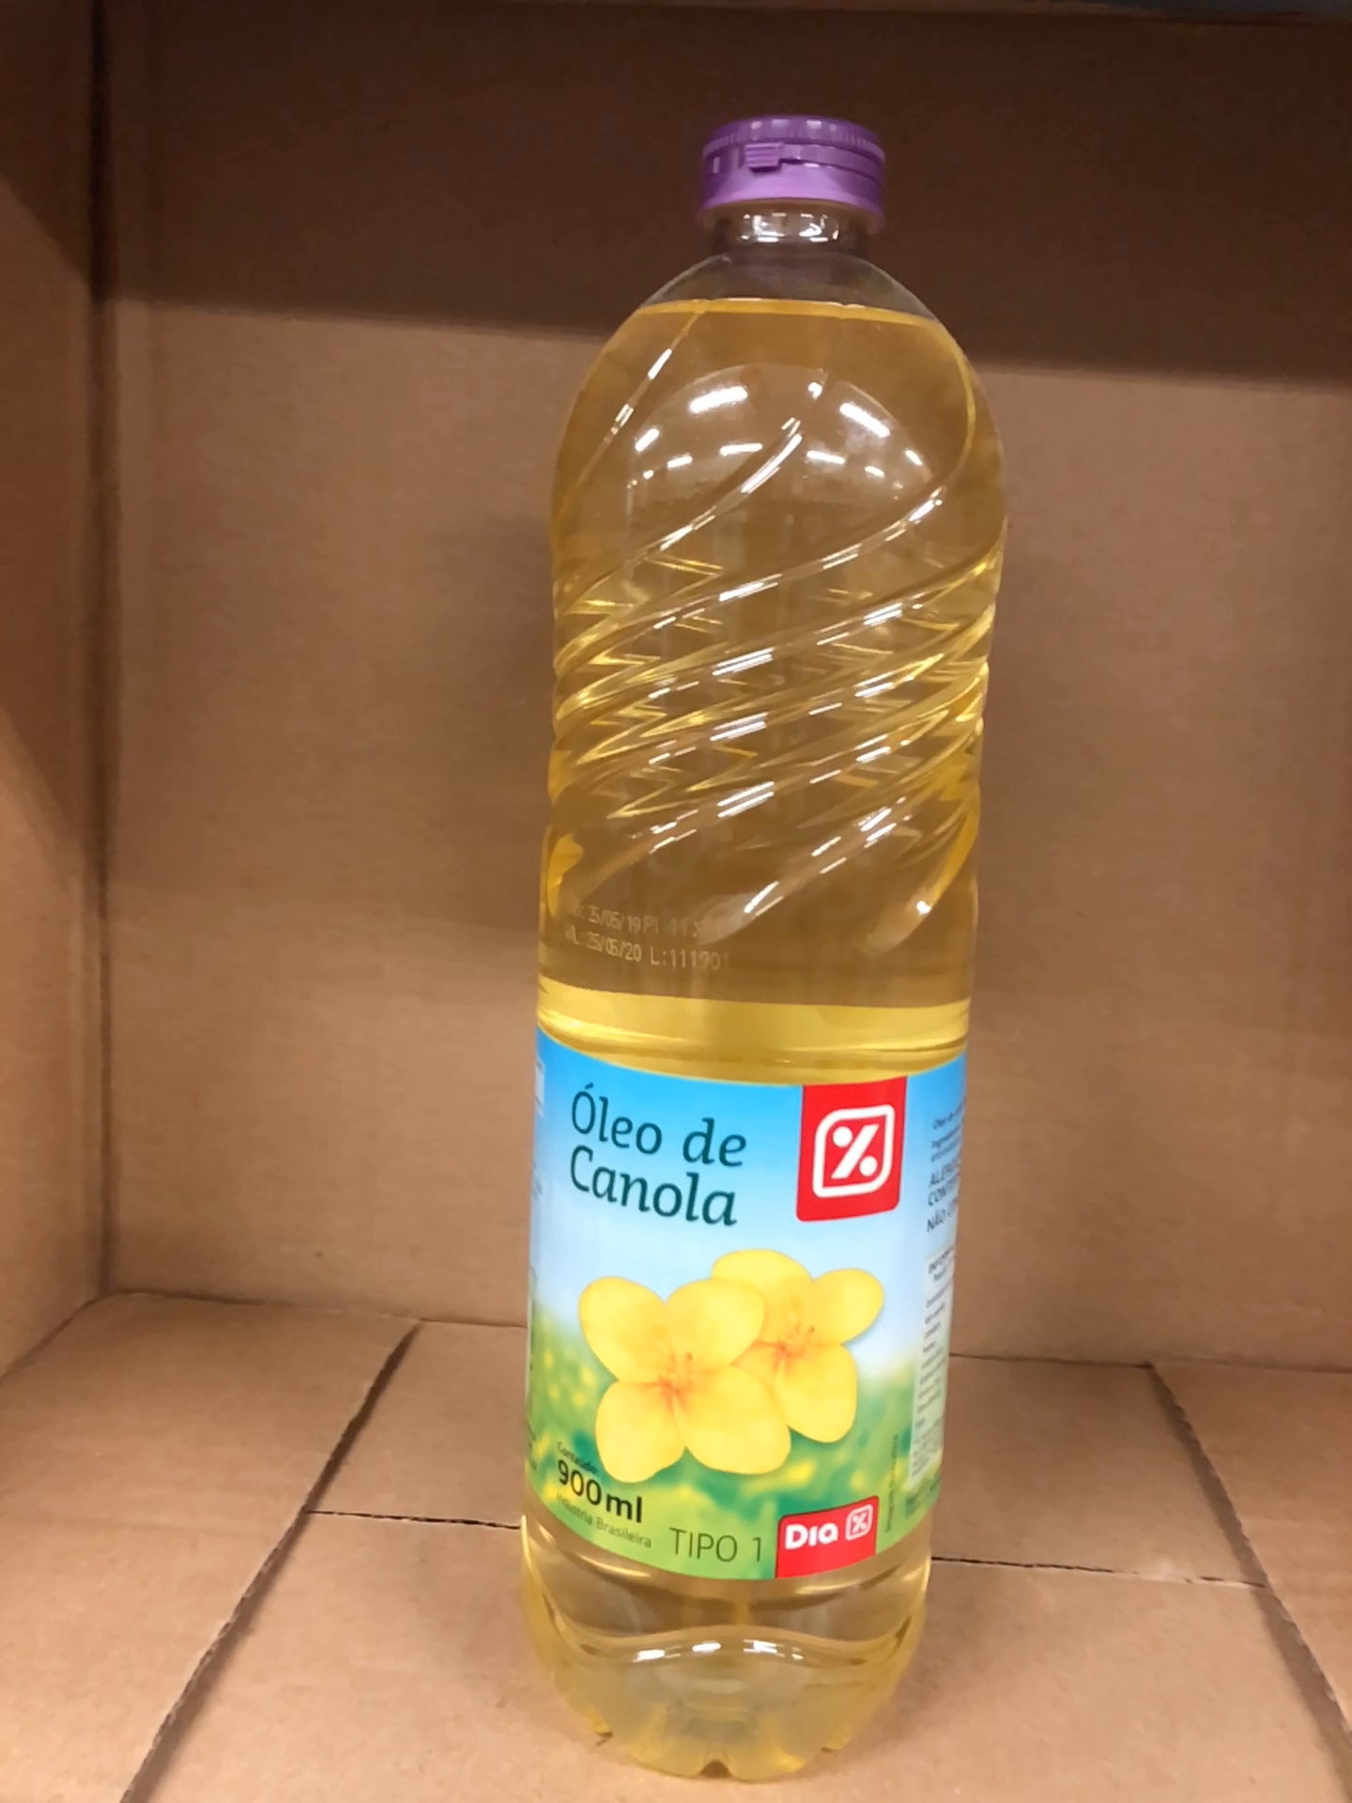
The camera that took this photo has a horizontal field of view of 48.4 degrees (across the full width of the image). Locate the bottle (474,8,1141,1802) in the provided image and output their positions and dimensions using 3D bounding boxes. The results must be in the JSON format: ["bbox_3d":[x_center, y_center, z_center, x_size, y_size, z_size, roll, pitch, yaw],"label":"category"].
[{"bbox_3d":[0.014,0.012,0.246,0.080,0.269,0.050,4,12,3],"label":"bottle"}]
